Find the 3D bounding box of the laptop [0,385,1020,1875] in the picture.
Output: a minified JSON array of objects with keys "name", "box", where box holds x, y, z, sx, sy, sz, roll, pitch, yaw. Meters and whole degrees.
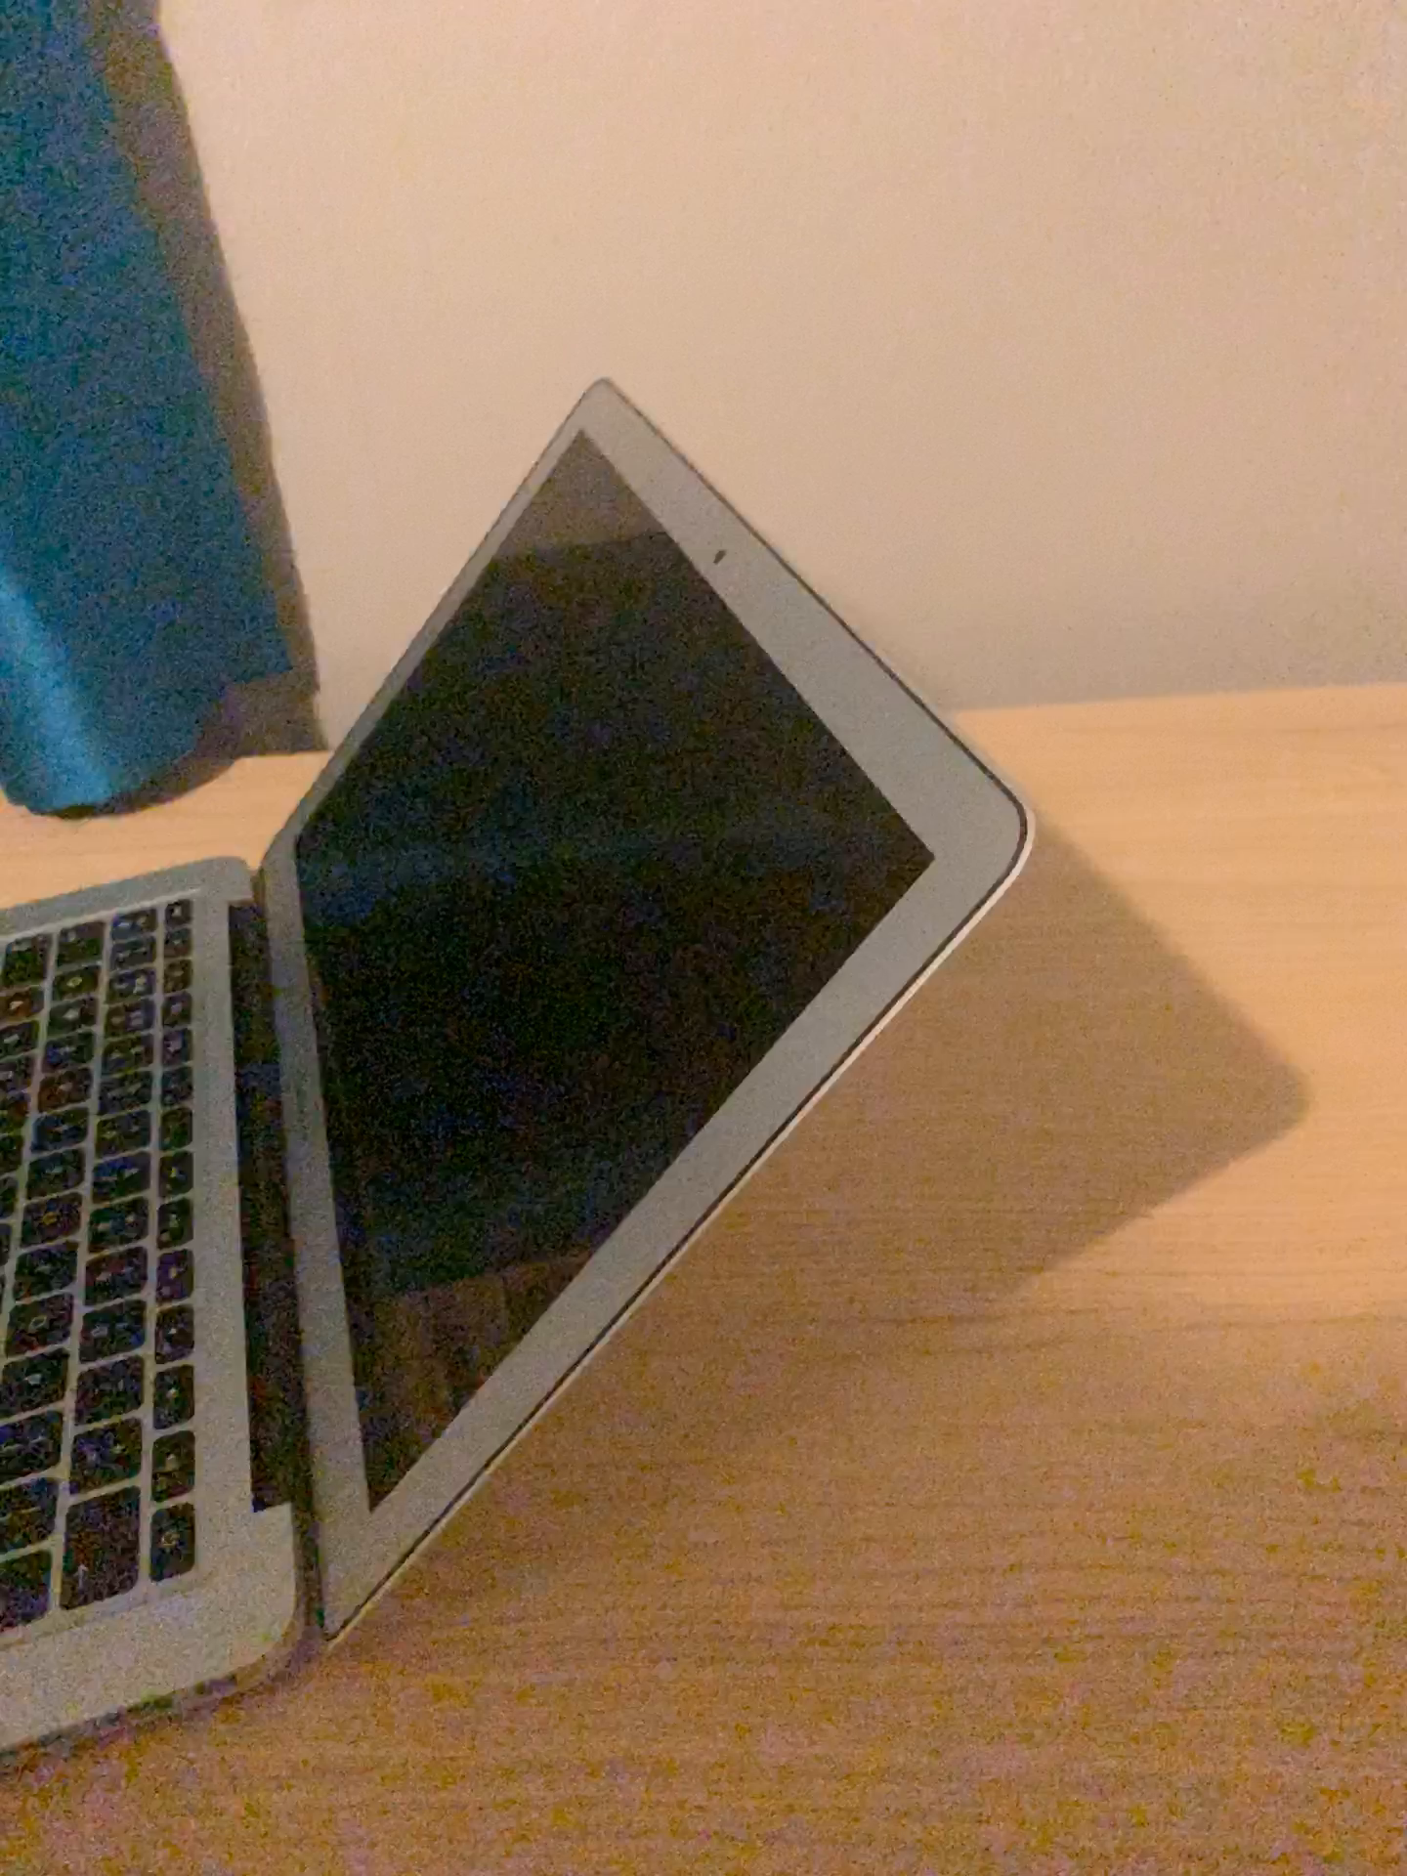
[{"name":"laptop","box":[-0.161,0.005,0.360,0.368,0.144,0.304,-14,36,-11]}]
